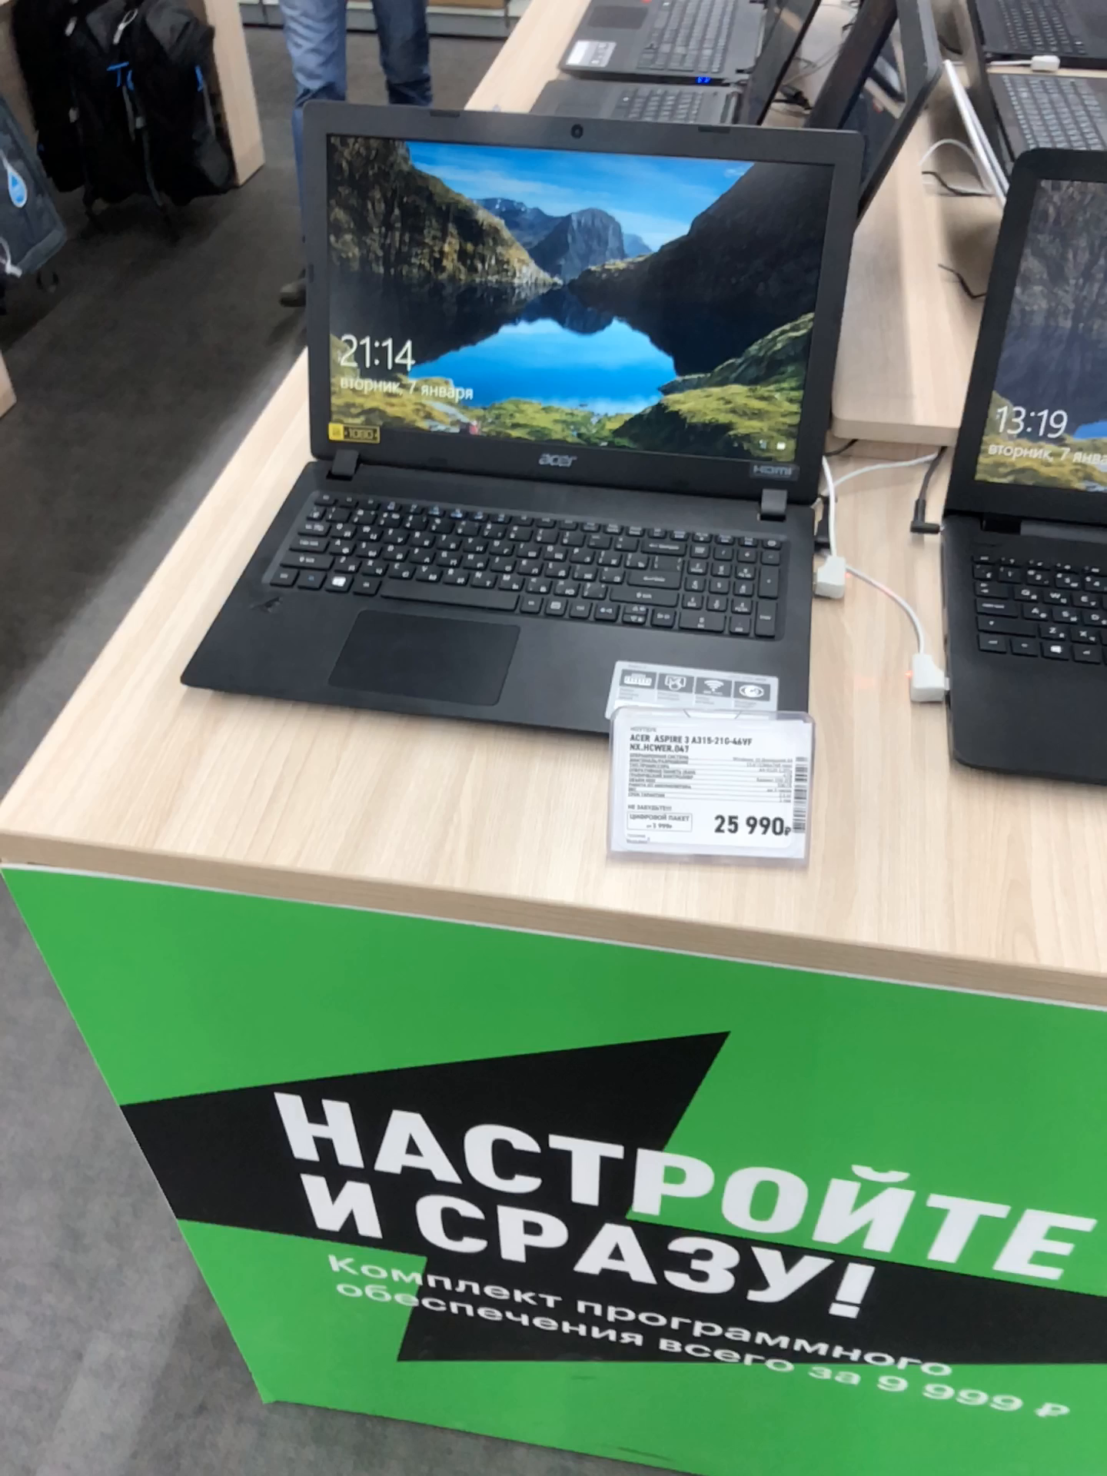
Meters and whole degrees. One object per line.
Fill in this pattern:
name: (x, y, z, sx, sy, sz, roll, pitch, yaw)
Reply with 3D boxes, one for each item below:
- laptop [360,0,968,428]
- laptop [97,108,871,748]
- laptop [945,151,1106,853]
laptop: (0.094, -0.484, 1.019, 0.395, 0.250, 0.403, 5, 45, 8)
laptop: (-0.011, -0.215, 0.774, 0.374, 0.219, 0.349, 7, 45, 7)
laptop: (0.446, -0.150, 0.696, 0.358, 0.220, 0.296, 6, 46, 8)
